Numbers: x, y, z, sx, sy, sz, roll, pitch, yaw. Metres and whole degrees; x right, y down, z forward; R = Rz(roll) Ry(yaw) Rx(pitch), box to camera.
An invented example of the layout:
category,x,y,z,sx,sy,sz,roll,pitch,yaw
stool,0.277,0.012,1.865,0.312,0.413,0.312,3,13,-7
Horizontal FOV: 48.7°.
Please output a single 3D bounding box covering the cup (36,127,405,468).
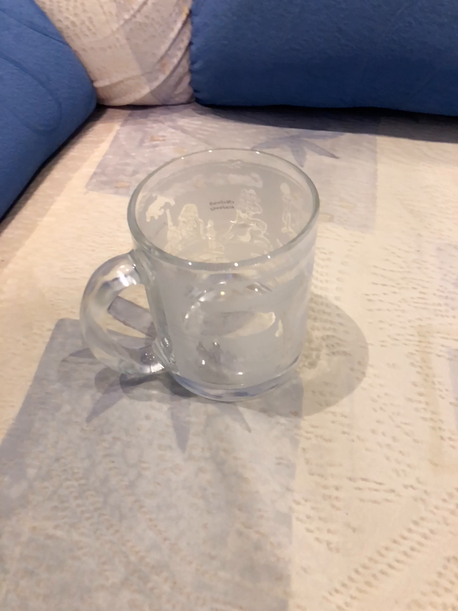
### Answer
category,x,y,z,sx,sy,sz,roll,pitch,yaw
cup,-0.006,-0.009,0.230,0.120,0.079,0.090,-22,49,-14
